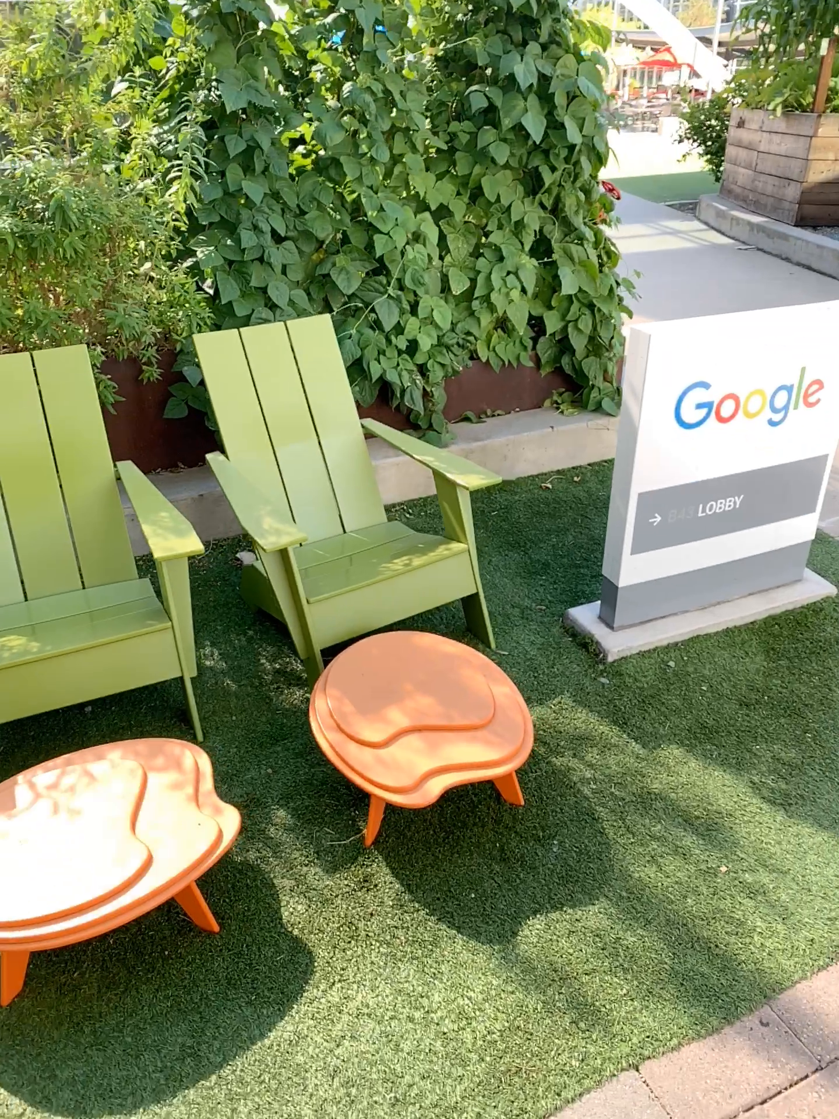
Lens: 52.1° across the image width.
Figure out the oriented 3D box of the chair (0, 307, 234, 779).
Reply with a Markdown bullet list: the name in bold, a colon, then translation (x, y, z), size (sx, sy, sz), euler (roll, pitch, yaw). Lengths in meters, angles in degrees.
- **chair**: translation (-1.072, -0.126, 2.419), size (0.770, 1.006, 0.823), euler (-13, 16, -21)

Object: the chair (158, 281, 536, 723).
- **chair**: translation (-0.242, -0.229, 2.609), size (0.730, 1.016, 0.823), euler (-16, 17, -22)
